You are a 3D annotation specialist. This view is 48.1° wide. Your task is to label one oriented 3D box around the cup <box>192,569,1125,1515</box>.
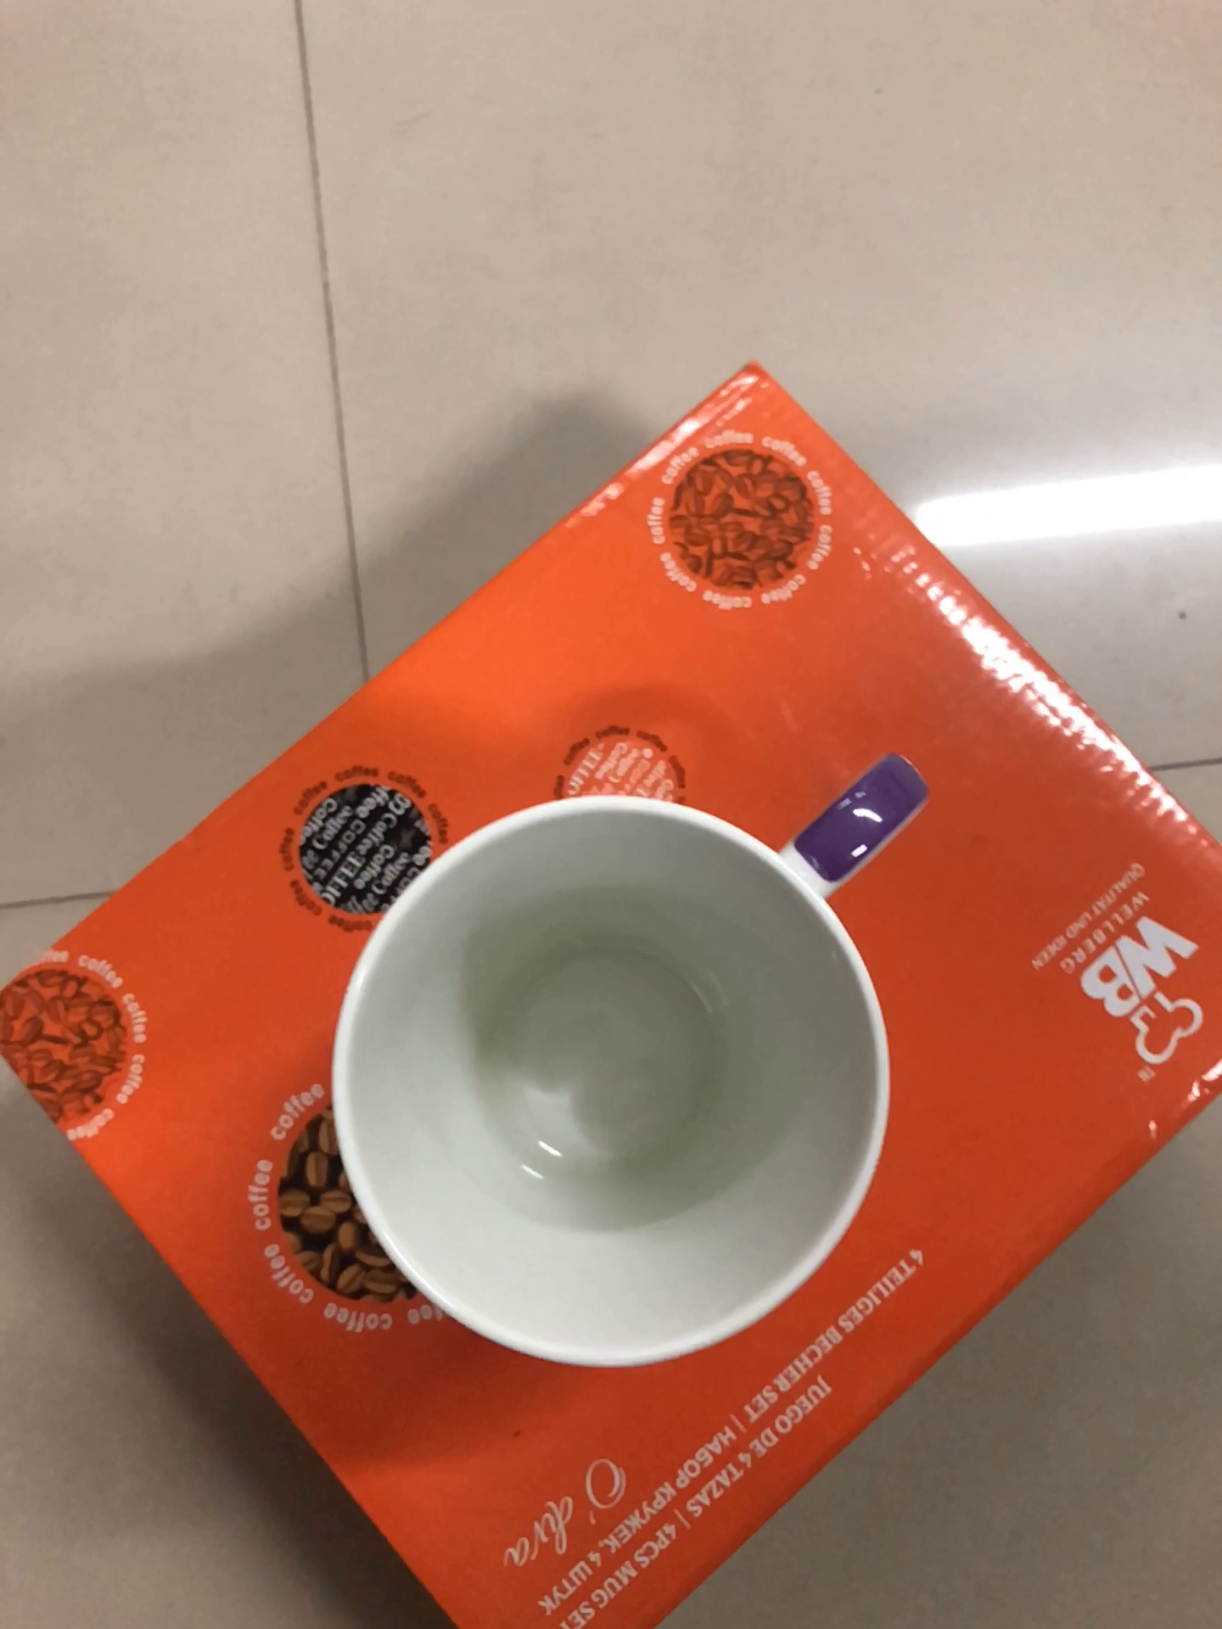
[{"bbox_3d":[0.007,0.036,0.247,0.110,0.100,0.080,-45,85,-6],"label":"cup"}]
